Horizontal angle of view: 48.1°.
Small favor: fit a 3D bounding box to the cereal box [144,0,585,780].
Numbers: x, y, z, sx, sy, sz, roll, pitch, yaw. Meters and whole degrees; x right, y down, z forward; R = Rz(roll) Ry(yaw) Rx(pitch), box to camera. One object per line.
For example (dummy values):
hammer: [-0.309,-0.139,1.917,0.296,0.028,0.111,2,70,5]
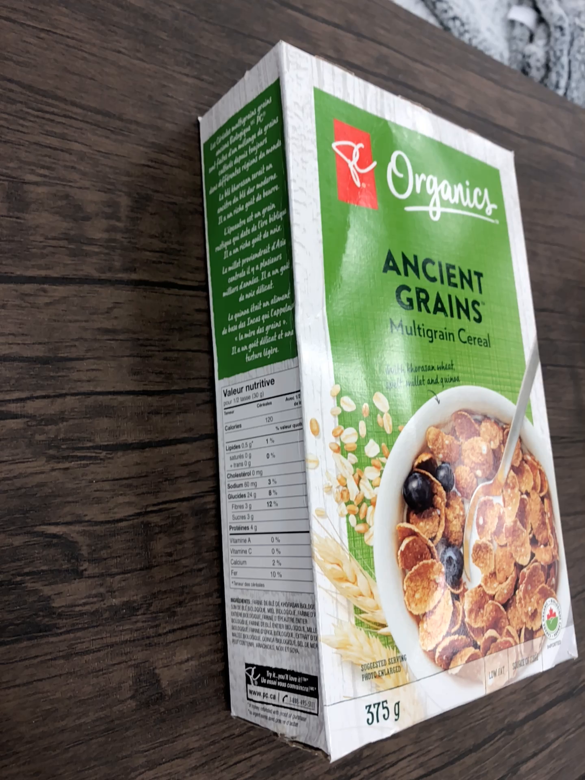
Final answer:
cereal box: [0.042,0.002,0.249,0.171,0.070,0.250,3,80,-39]
